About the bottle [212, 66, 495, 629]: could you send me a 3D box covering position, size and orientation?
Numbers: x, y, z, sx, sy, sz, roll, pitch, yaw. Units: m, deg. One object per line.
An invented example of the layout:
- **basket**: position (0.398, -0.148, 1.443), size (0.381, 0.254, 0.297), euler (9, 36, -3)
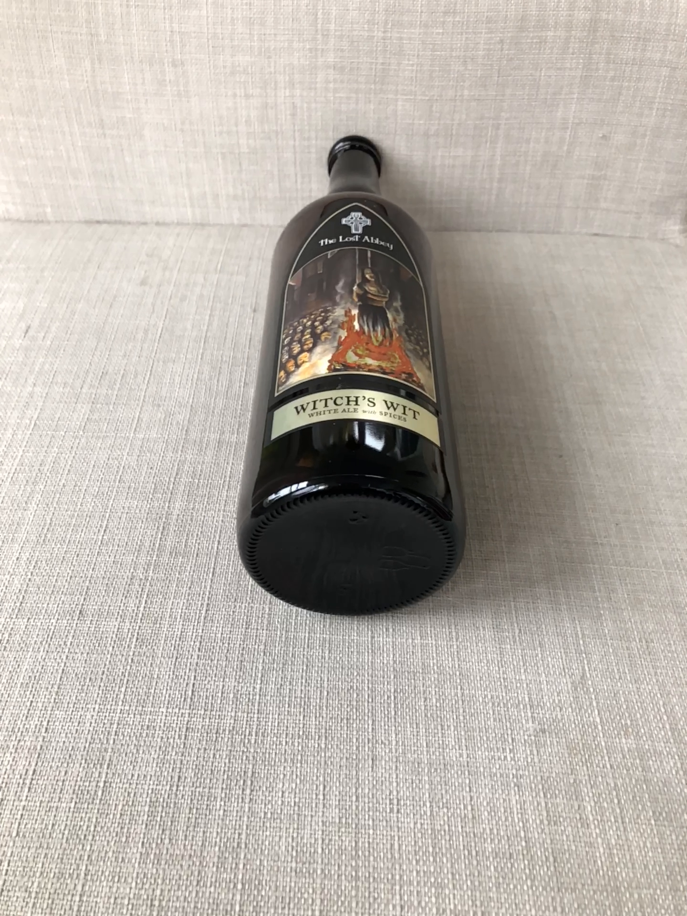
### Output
- **bottle**: position (0.004, -0.072, 0.339), size (0.080, 0.079, 0.282), euler (2, 49, -1)
